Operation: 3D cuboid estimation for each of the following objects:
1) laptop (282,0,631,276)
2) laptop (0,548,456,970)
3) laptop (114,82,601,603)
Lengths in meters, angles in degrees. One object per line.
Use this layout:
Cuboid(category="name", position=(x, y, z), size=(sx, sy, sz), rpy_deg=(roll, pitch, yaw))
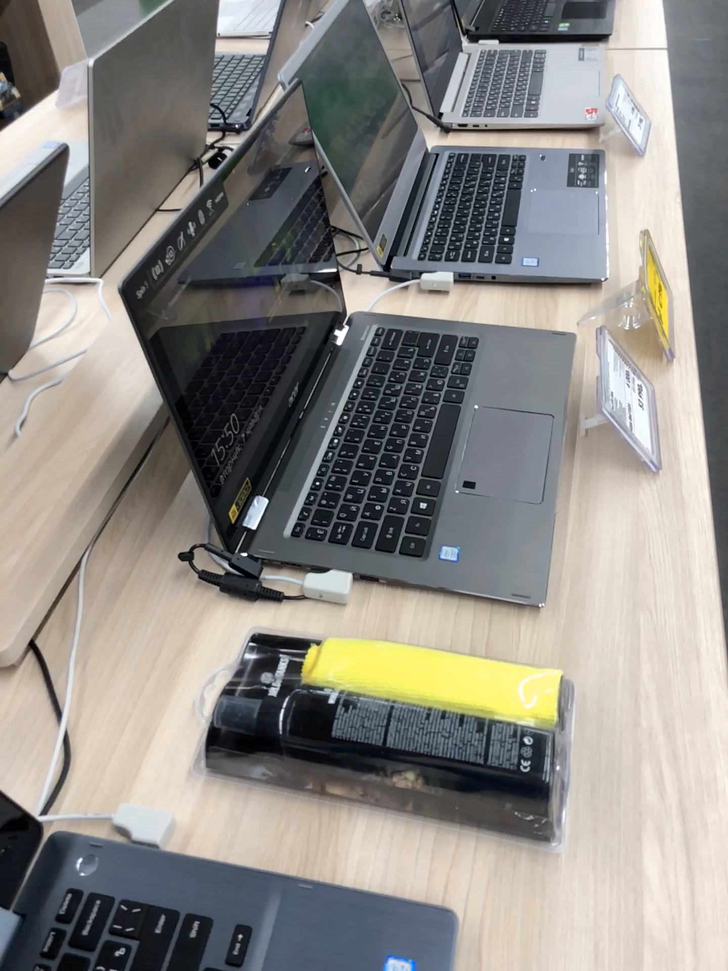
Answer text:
Cuboid(category="laptop", position=(0.111, -0.391, 0.857), size=(0.298, 0.196, 0.272), rpy_deg=(6, 47, 11))
Cuboid(category="laptop", position=(-0.140, 0.243, 0.230), size=(0.288, 0.215, 0.342), rpy_deg=(7, 47, 11))
Cuboid(category="laptop", position=(0.028, -0.125, 0.590), size=(0.245, 0.215, 0.316), rpy_deg=(8, 46, 12))
